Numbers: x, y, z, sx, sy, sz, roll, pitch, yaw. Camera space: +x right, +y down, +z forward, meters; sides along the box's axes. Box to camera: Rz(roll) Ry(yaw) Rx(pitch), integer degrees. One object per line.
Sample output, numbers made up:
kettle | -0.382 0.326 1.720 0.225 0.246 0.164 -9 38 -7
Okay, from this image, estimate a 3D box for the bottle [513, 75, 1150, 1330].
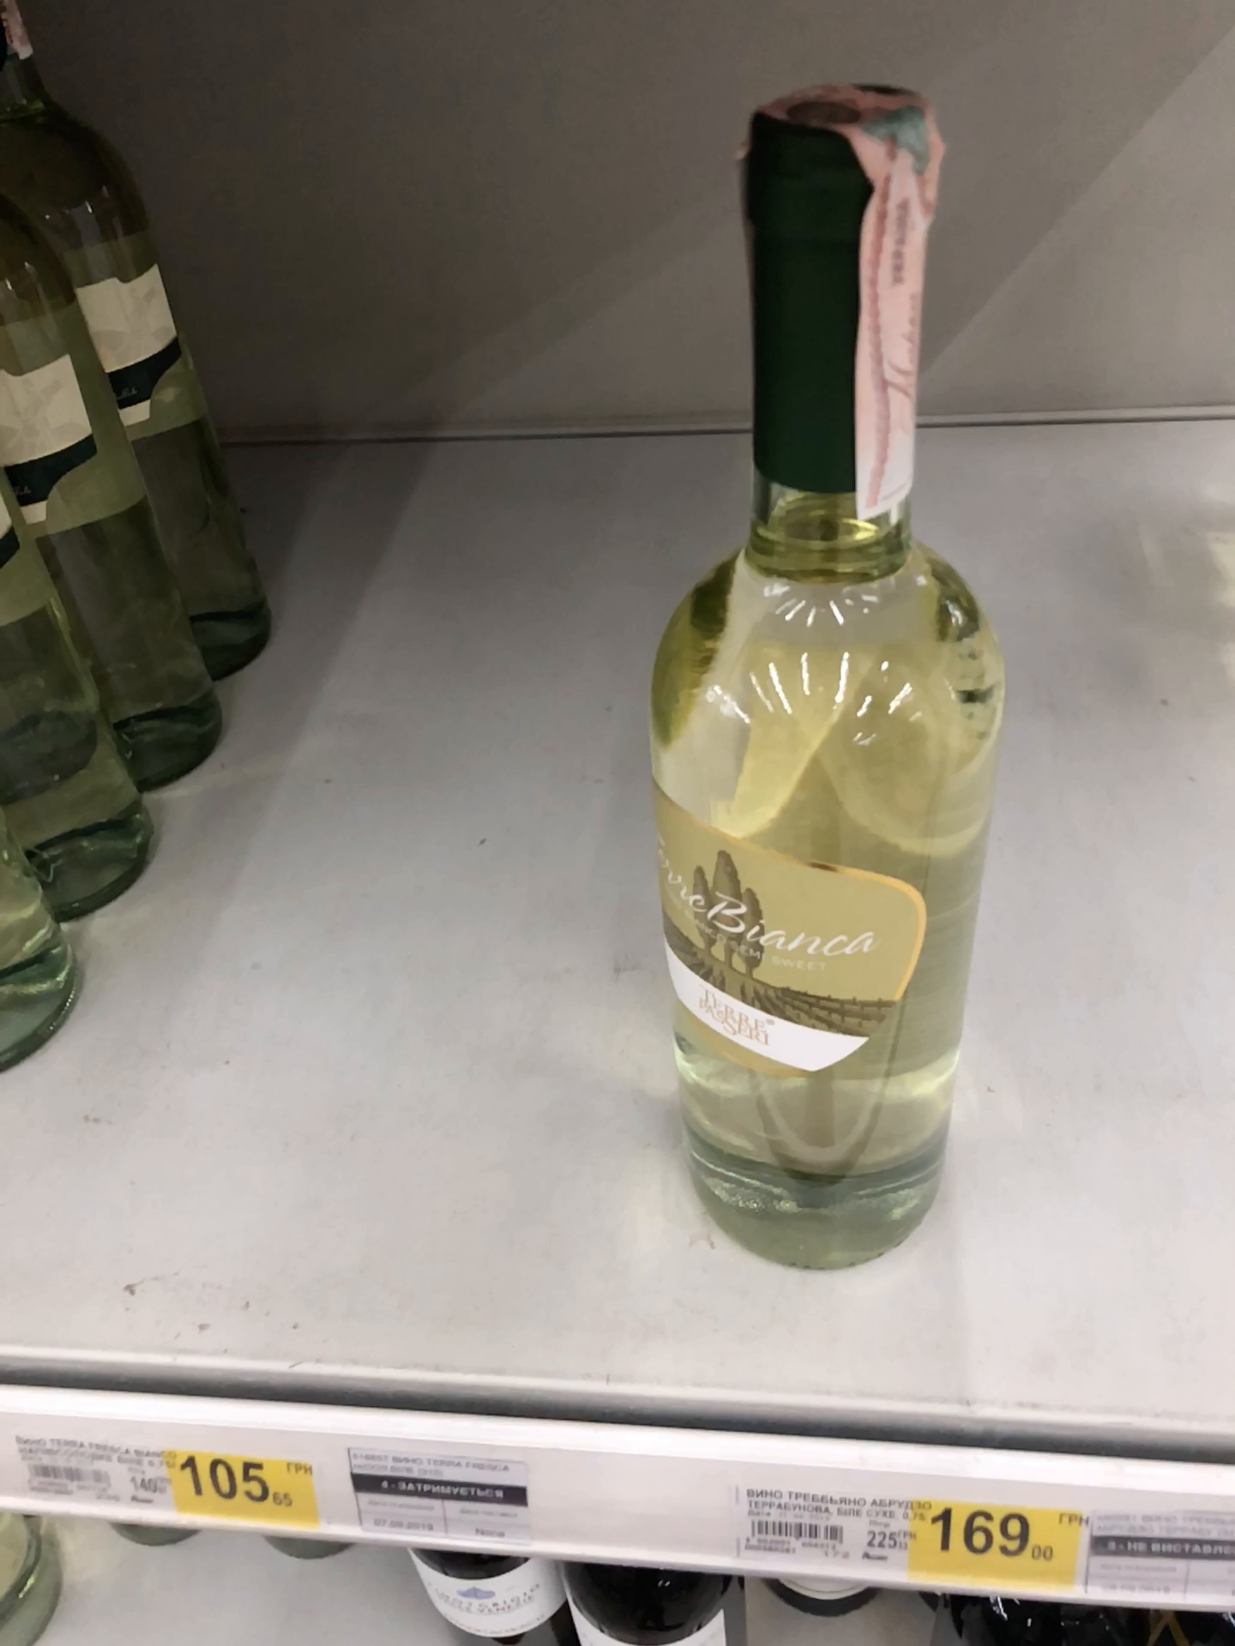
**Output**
bottle | 0.043 -0.001 0.295 0.070 0.269 0.070 -3 43 3
